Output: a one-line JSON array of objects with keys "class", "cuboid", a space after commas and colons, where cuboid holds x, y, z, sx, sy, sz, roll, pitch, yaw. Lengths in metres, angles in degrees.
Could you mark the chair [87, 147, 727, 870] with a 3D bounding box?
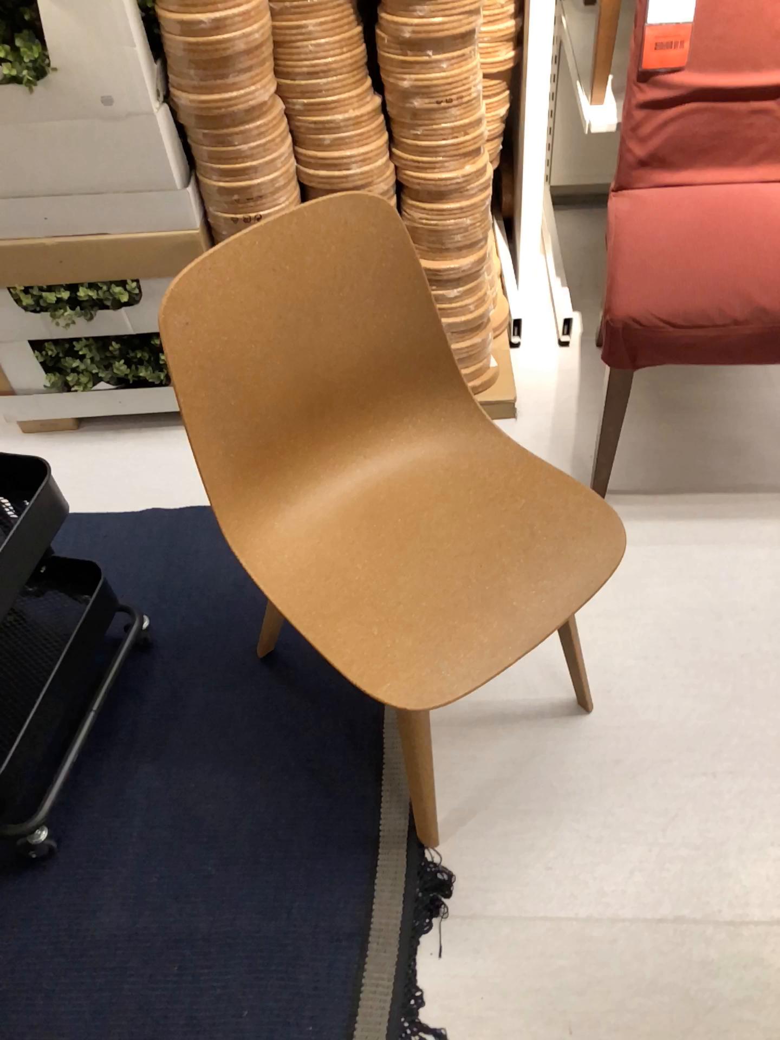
[{"class": "chair", "cuboid": [0.020, 0.008, 1.208, 0.441, 0.746, 0.552, -34, 55, -21]}]
